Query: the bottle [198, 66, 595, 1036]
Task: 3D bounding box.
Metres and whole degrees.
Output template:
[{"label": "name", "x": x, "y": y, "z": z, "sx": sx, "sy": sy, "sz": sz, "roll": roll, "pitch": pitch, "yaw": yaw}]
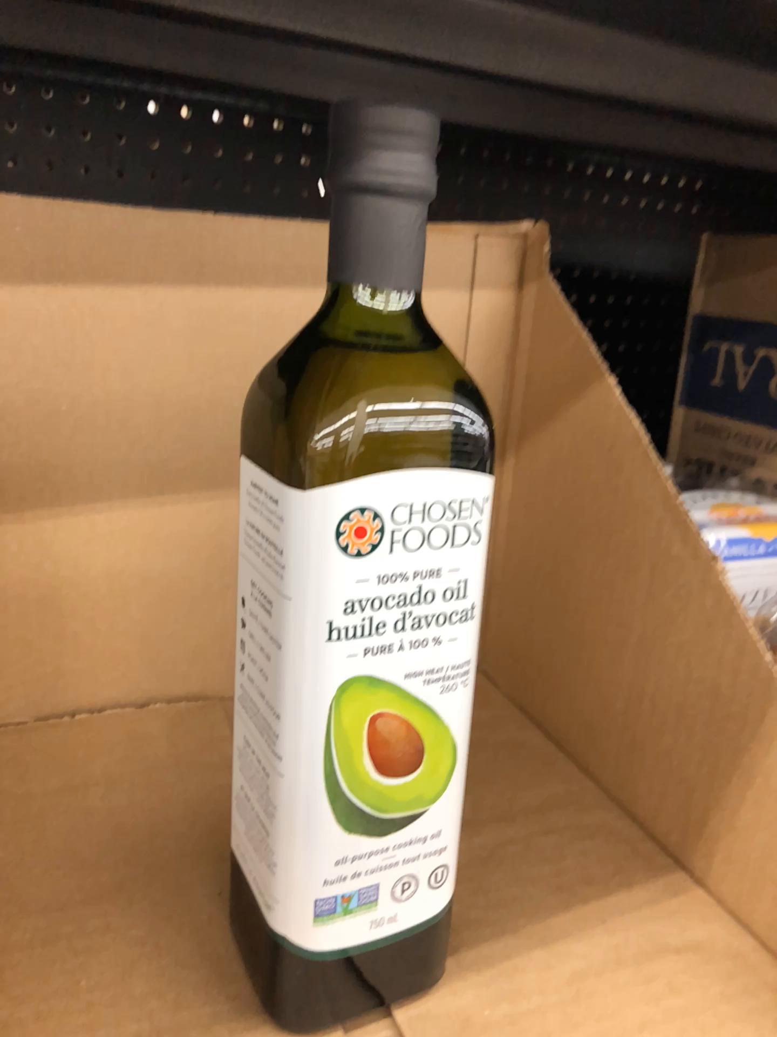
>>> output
[{"label": "bottle", "x": -0.011, "y": 0.028, "z": 0.294, "sx": 0.090, "sy": 0.308, "sz": 0.070, "roll": -4, "pitch": 20, "yaw": -25}]
